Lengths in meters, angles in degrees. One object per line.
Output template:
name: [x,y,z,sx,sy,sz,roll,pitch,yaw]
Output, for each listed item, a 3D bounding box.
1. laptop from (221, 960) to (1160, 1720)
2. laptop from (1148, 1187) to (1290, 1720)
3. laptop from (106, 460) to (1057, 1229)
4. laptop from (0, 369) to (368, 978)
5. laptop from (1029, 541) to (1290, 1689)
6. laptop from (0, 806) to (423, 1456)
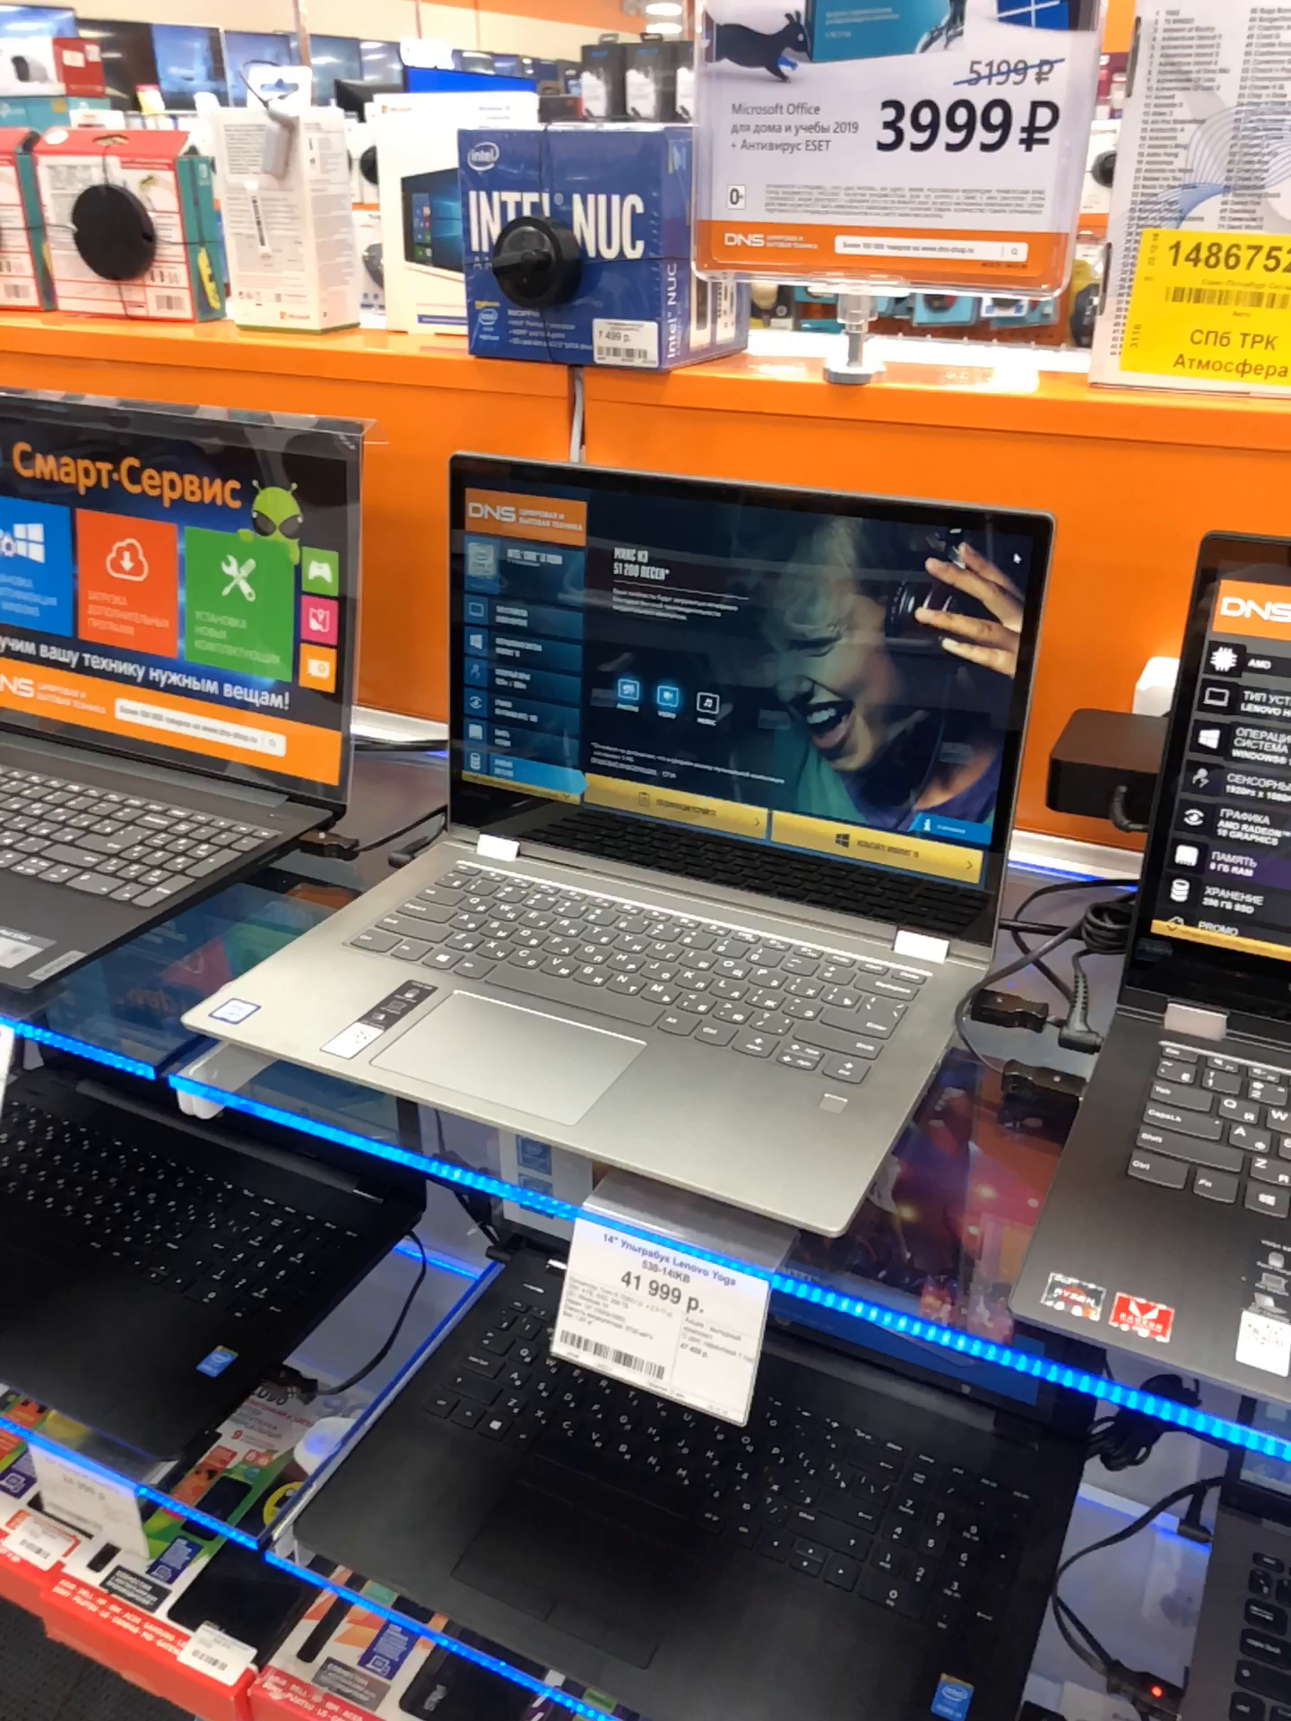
laptop: [0.032,0.237,0.728,0.368,0.207,0.264,11,29,24]
laptop: [0.397,0.319,0.556,0.309,0.213,0.238,12,27,27]
laptop: [-0.017,-0.038,0.633,0.315,0.212,0.239,13,29,25]
laptop: [-0.375,-0.129,0.789,0.305,0.212,0.279,12,29,20]
laptop: [0.311,0.037,0.476,0.290,0.209,0.248,12,28,25]
laptop: [-0.379,0.148,0.925,0.378,0.235,0.239,12,29,25]
